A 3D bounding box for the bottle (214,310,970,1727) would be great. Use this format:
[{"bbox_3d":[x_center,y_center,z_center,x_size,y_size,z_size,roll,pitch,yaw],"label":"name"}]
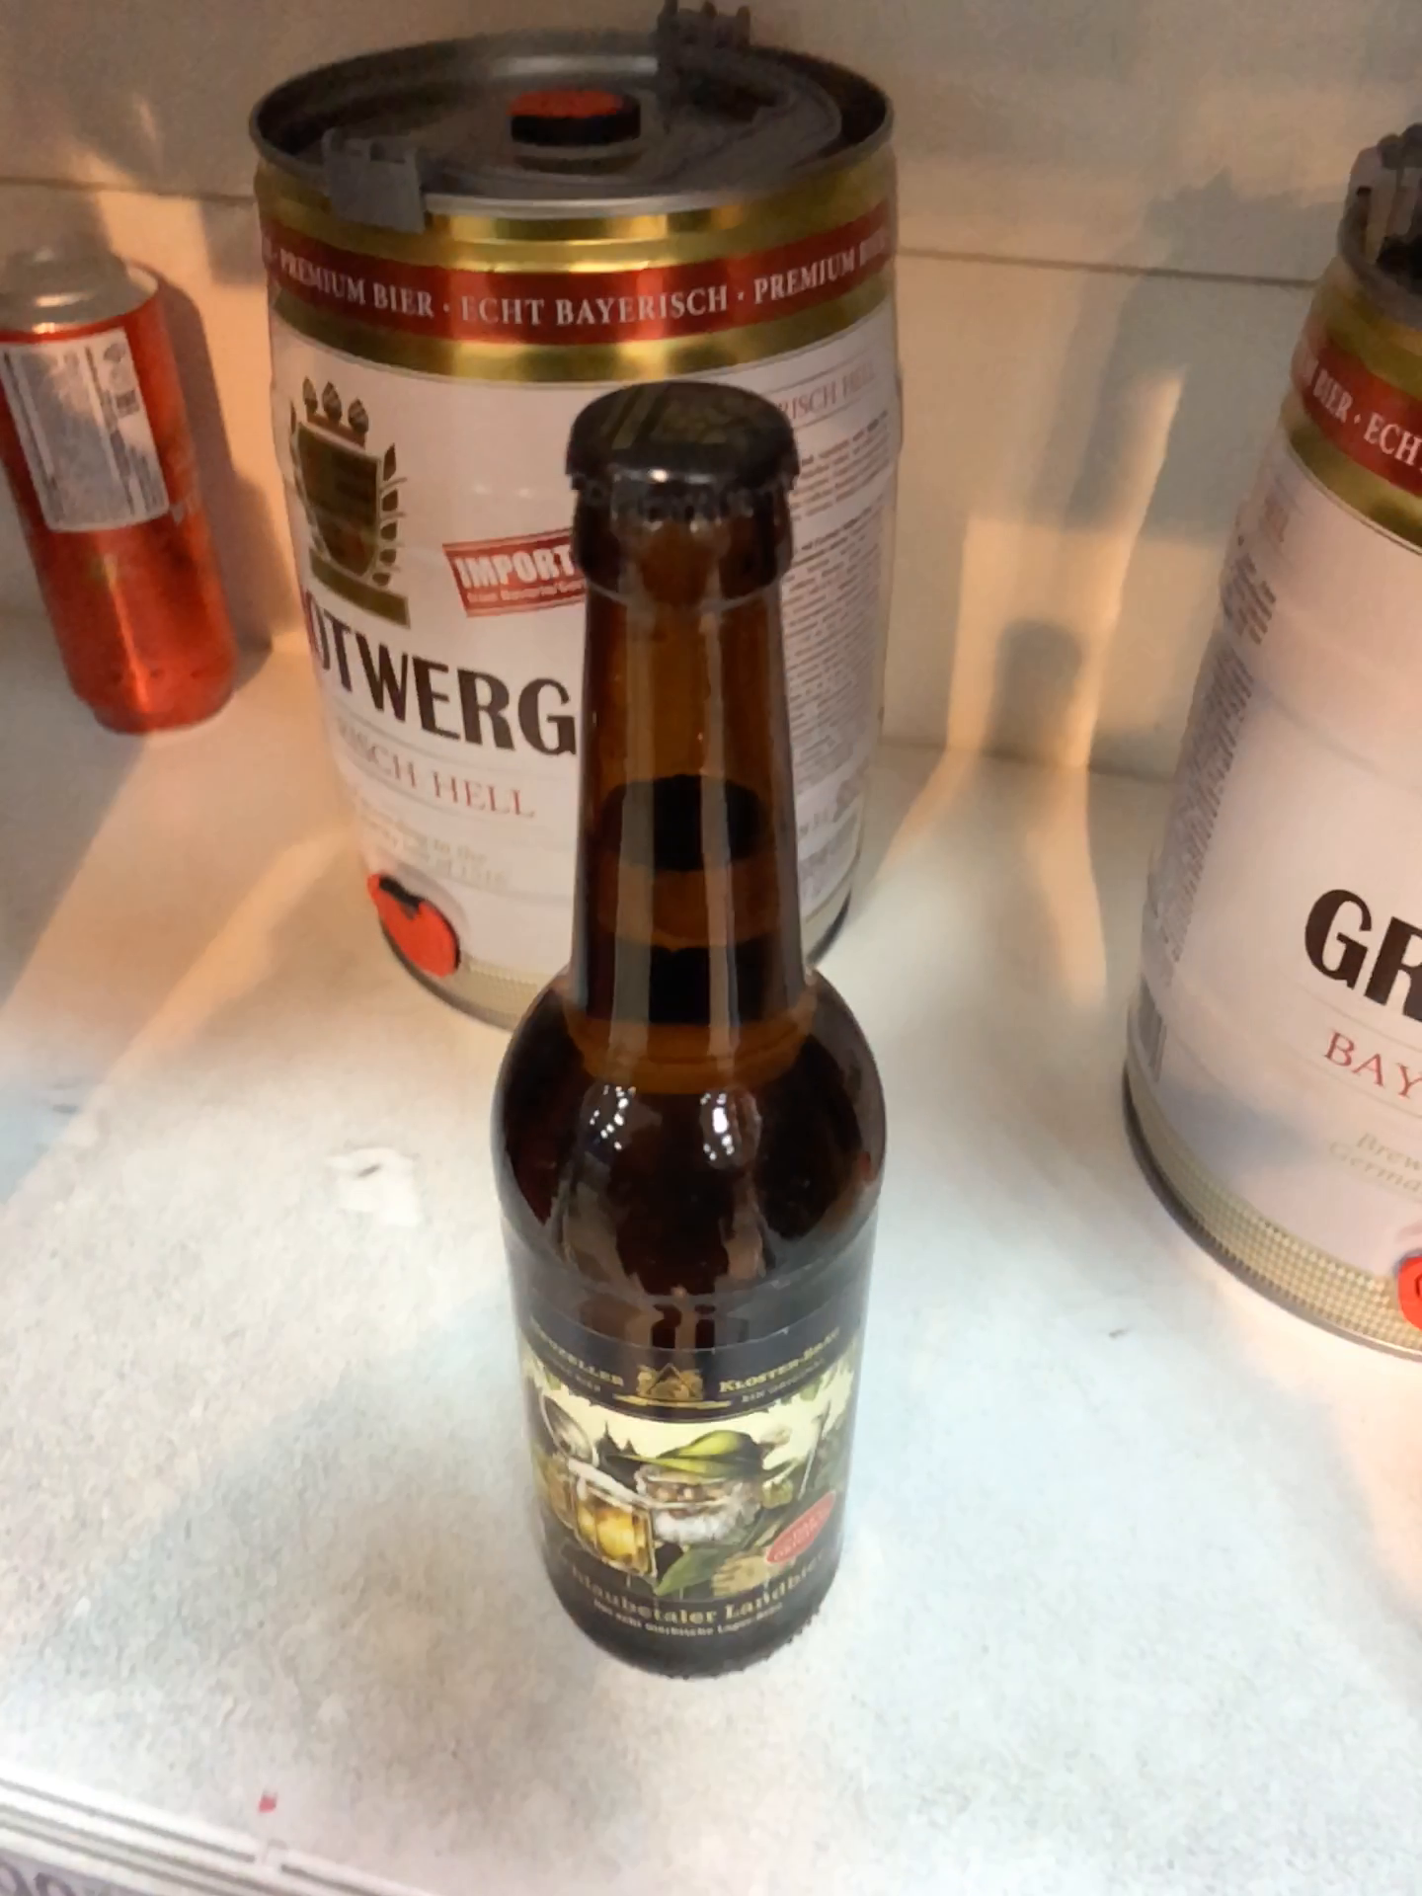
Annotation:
[{"bbox_3d":[-0.008,0.037,0.265,0.071,0.257,0.064,8,43,10],"label":"bottle"}]
